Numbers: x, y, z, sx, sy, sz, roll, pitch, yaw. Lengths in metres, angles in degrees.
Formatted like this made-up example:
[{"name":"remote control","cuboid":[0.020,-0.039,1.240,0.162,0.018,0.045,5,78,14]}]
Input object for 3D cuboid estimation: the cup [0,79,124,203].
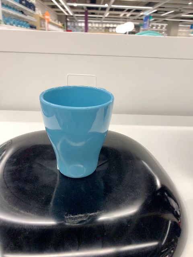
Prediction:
[{"name":"cup","cuboid":[-0.030,0.000,0.266,0.100,0.100,0.141,9,24,15]}]
